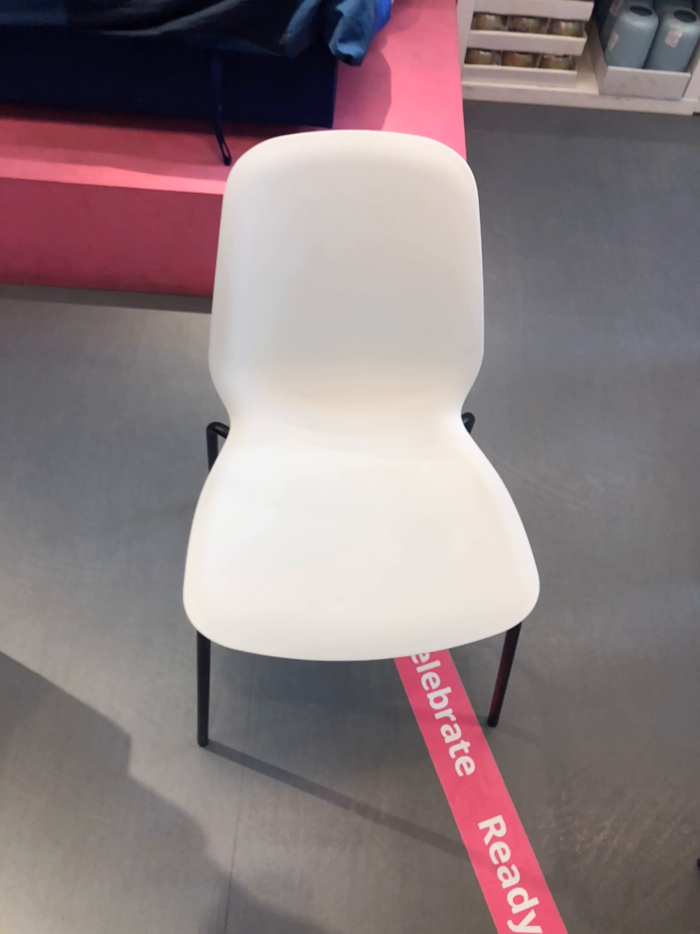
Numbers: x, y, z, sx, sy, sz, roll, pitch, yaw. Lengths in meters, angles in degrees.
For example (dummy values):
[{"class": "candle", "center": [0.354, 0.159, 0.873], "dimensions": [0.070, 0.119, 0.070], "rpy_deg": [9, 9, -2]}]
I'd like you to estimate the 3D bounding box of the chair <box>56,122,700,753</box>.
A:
[{"class": "chair", "center": [-0.006, 0.024, 1.047], "dimensions": [0.510, 0.756, 0.492], "rpy_deg": [-2, 57, -5]}]
